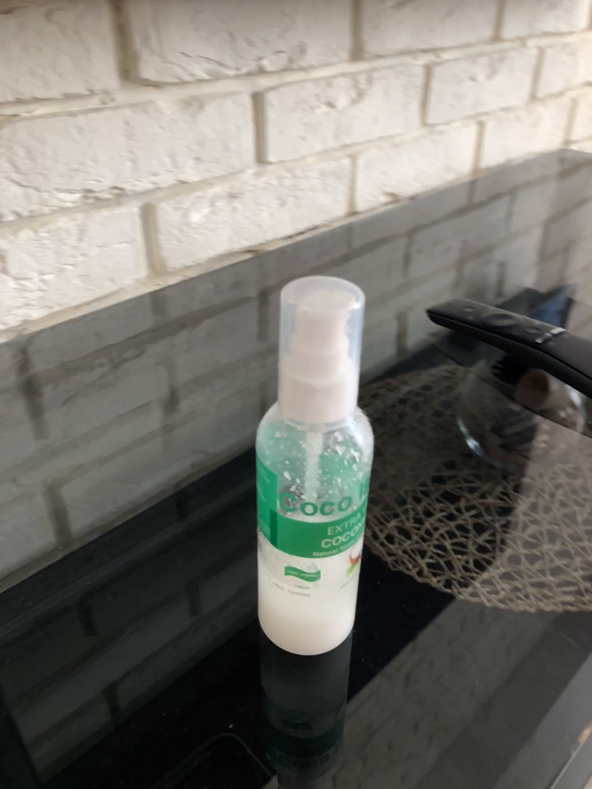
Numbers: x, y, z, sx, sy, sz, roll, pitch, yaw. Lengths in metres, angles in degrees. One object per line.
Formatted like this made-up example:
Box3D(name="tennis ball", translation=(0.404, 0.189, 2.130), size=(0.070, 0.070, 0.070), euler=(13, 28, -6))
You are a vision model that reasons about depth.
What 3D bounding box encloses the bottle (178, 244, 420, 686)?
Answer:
Box3D(name="bottle", translation=(0.000, 0.027, 0.227), size=(0.050, 0.139, 0.050), euler=(0, 33, 0))
